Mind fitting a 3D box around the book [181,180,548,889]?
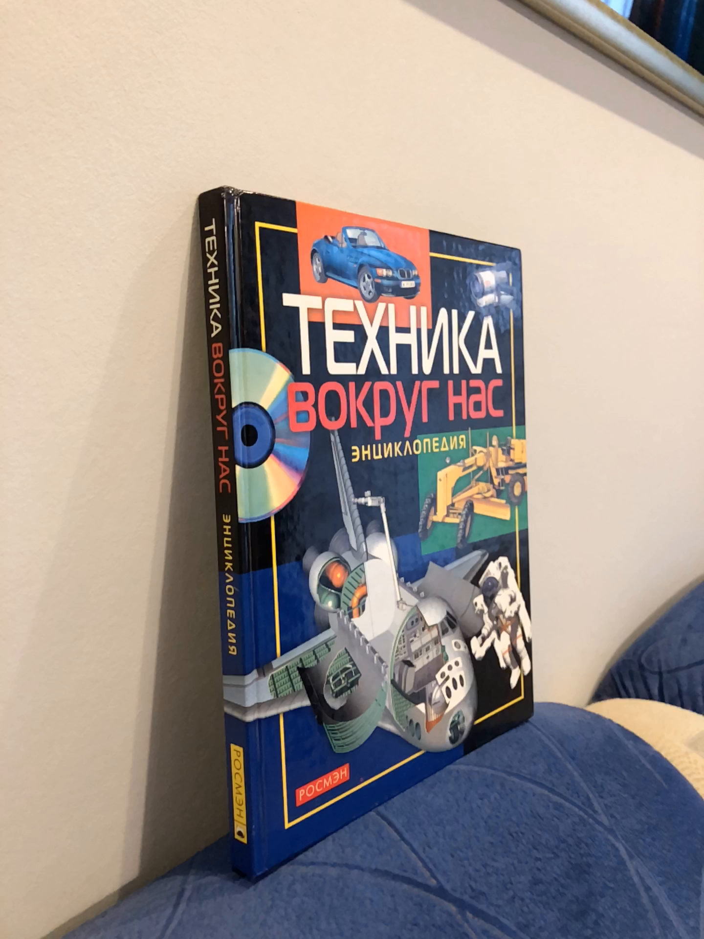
[{"bbox_3d":[0.025,0.019,0.392,0.030,0.280,0.221,2,6,45],"label":"book"}]
